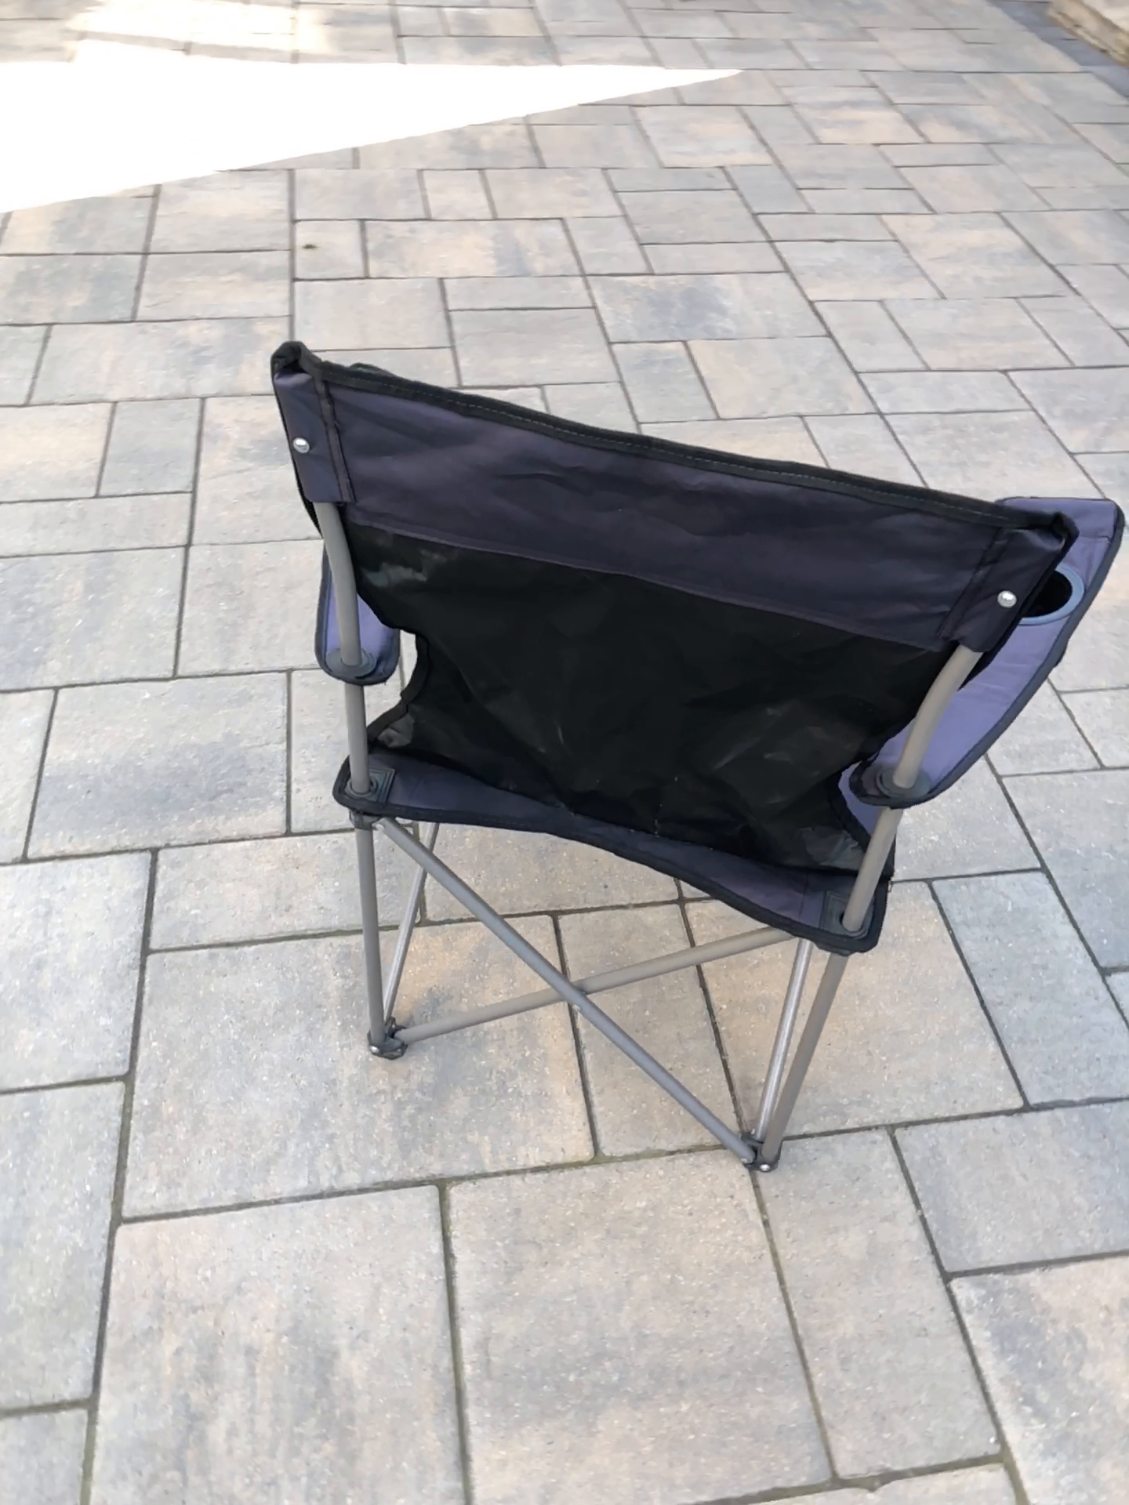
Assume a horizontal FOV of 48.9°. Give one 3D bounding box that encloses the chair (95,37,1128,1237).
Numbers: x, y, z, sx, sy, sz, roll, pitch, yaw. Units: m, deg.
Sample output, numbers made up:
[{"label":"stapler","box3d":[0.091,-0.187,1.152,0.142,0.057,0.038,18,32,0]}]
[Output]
[{"label":"chair","box3d":[0.107,-0.091,1.162,0.690,0.817,0.572,13,45,8]}]
